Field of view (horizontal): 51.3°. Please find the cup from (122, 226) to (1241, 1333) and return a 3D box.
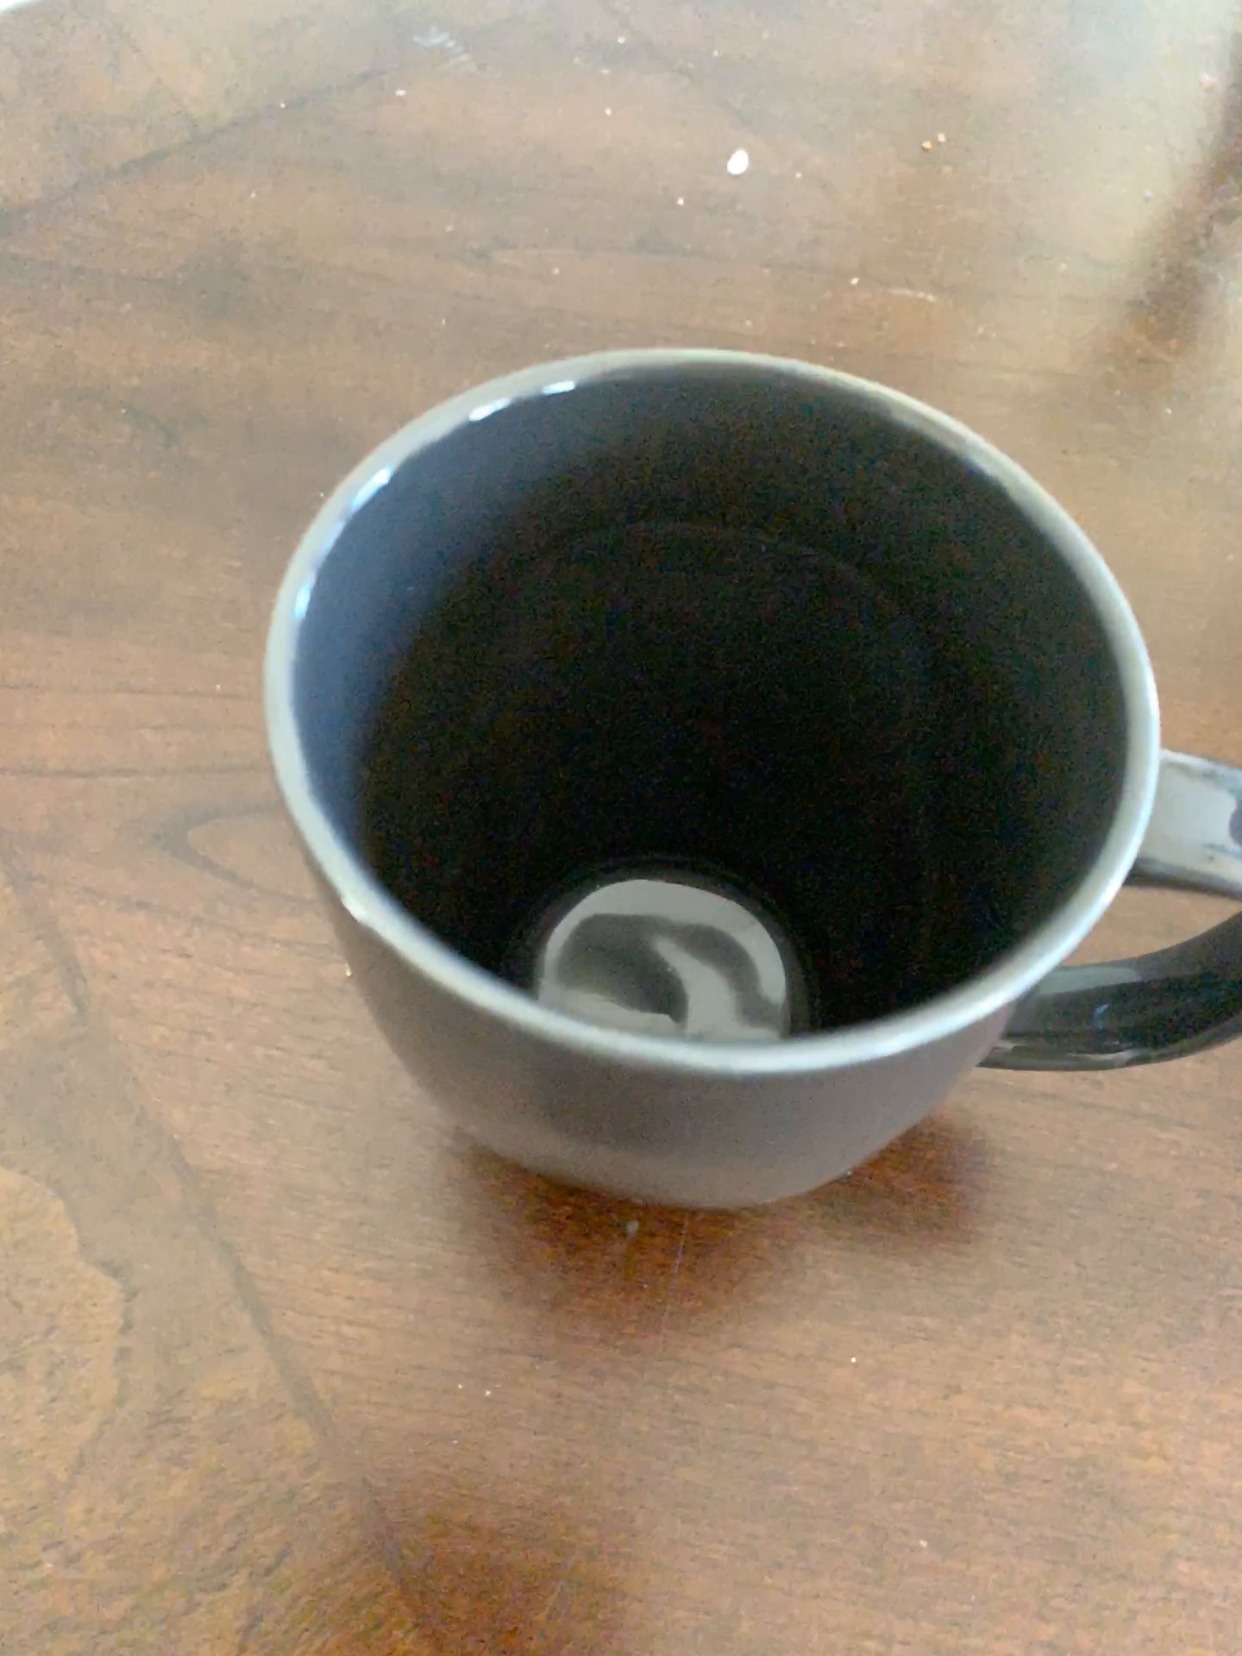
[{"bbox_3d":[0.020,0.002,0.159,0.107,0.096,0.089,6,62,3],"label":"cup"}]
